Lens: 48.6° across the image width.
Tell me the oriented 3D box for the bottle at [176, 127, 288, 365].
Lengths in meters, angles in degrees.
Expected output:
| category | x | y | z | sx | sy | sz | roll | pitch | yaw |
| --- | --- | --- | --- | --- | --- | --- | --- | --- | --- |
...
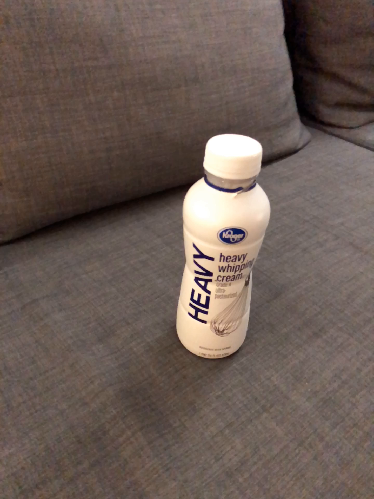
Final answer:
| category | x | y | z | sx | sy | sz | roll | pitch | yaw |
| --- | --- | --- | --- | --- | --- | --- | --- | --- | --- |
| bottle | 0.029 | 0.005 | 0.345 | 0.070 | 0.189 | 0.070 | 1 | 37 | -1 |
